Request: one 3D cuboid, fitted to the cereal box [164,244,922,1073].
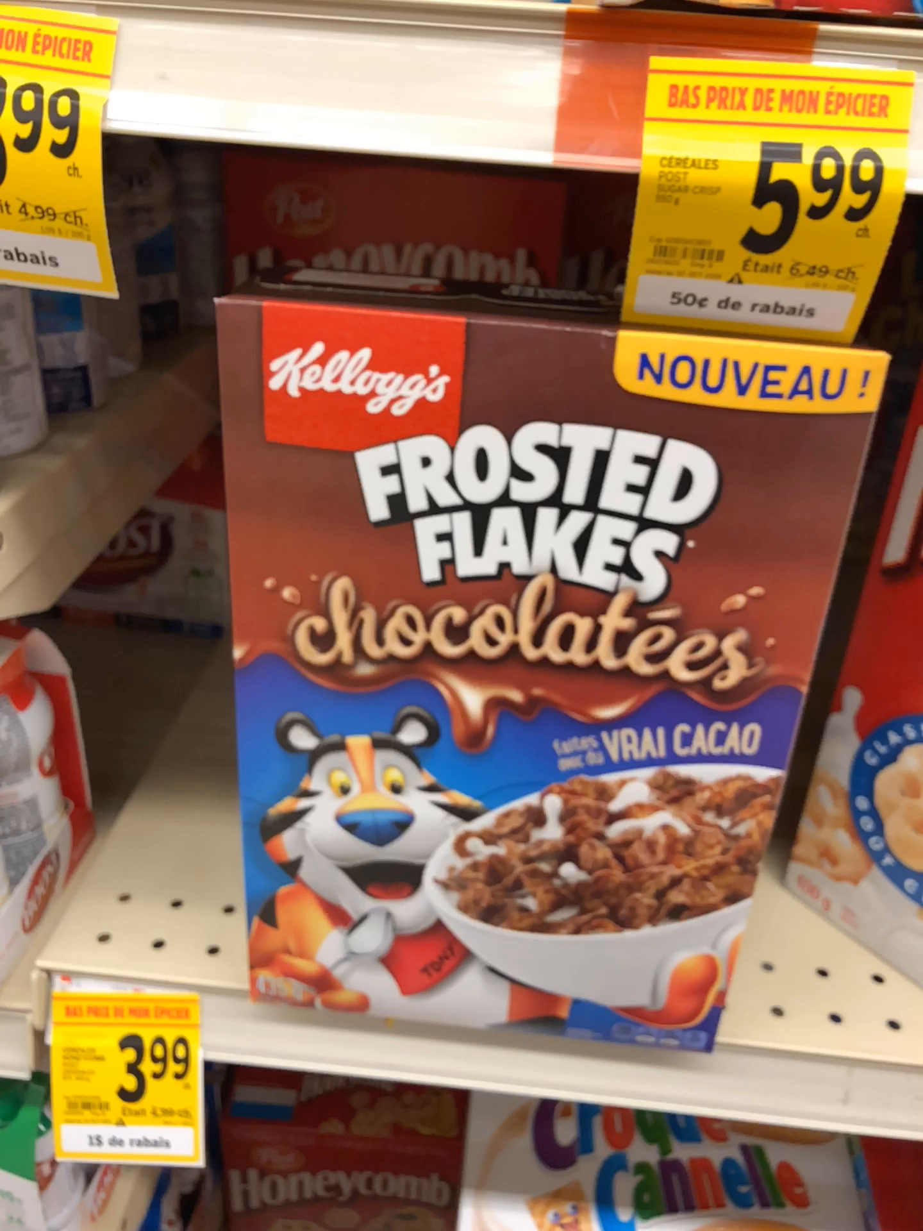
[{"bbox_3d":[0.017,0.026,0.372,0.210,0.278,0.071,6,28,3],"label":"cereal box"}]
